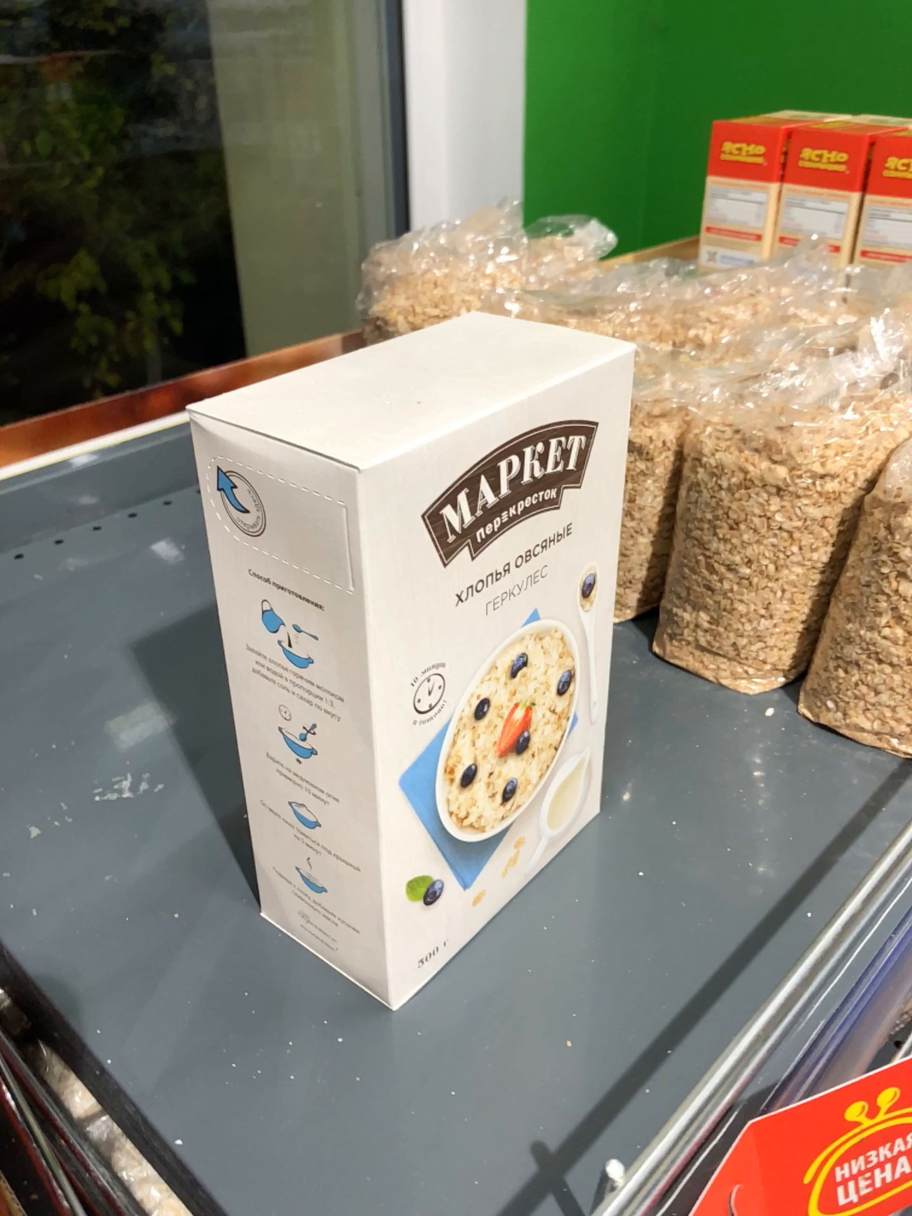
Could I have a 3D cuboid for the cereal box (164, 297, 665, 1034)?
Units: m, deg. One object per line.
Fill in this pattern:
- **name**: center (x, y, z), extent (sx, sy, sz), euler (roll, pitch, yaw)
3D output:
- **cereal box**: center (-0.005, 0.013, 0.328), extent (0.070, 0.189, 0.130), euler (22, 37, 34)
